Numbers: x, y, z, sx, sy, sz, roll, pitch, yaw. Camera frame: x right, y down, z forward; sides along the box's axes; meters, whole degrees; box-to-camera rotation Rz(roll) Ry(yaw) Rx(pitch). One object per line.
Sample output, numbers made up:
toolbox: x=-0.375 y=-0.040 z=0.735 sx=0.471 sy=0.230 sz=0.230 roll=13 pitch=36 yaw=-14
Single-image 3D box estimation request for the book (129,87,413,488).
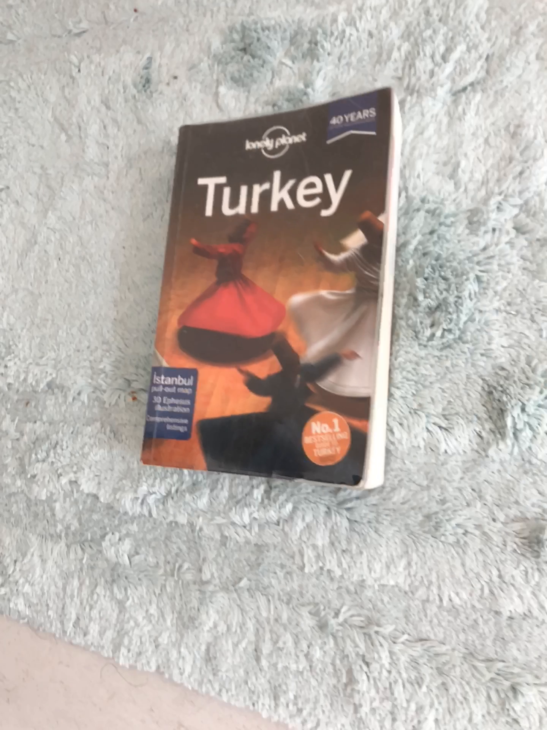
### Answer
book: x=0.000 y=-0.038 z=0.331 sx=0.130 sy=0.046 sz=0.190 roll=2 pitch=82 yaw=26
